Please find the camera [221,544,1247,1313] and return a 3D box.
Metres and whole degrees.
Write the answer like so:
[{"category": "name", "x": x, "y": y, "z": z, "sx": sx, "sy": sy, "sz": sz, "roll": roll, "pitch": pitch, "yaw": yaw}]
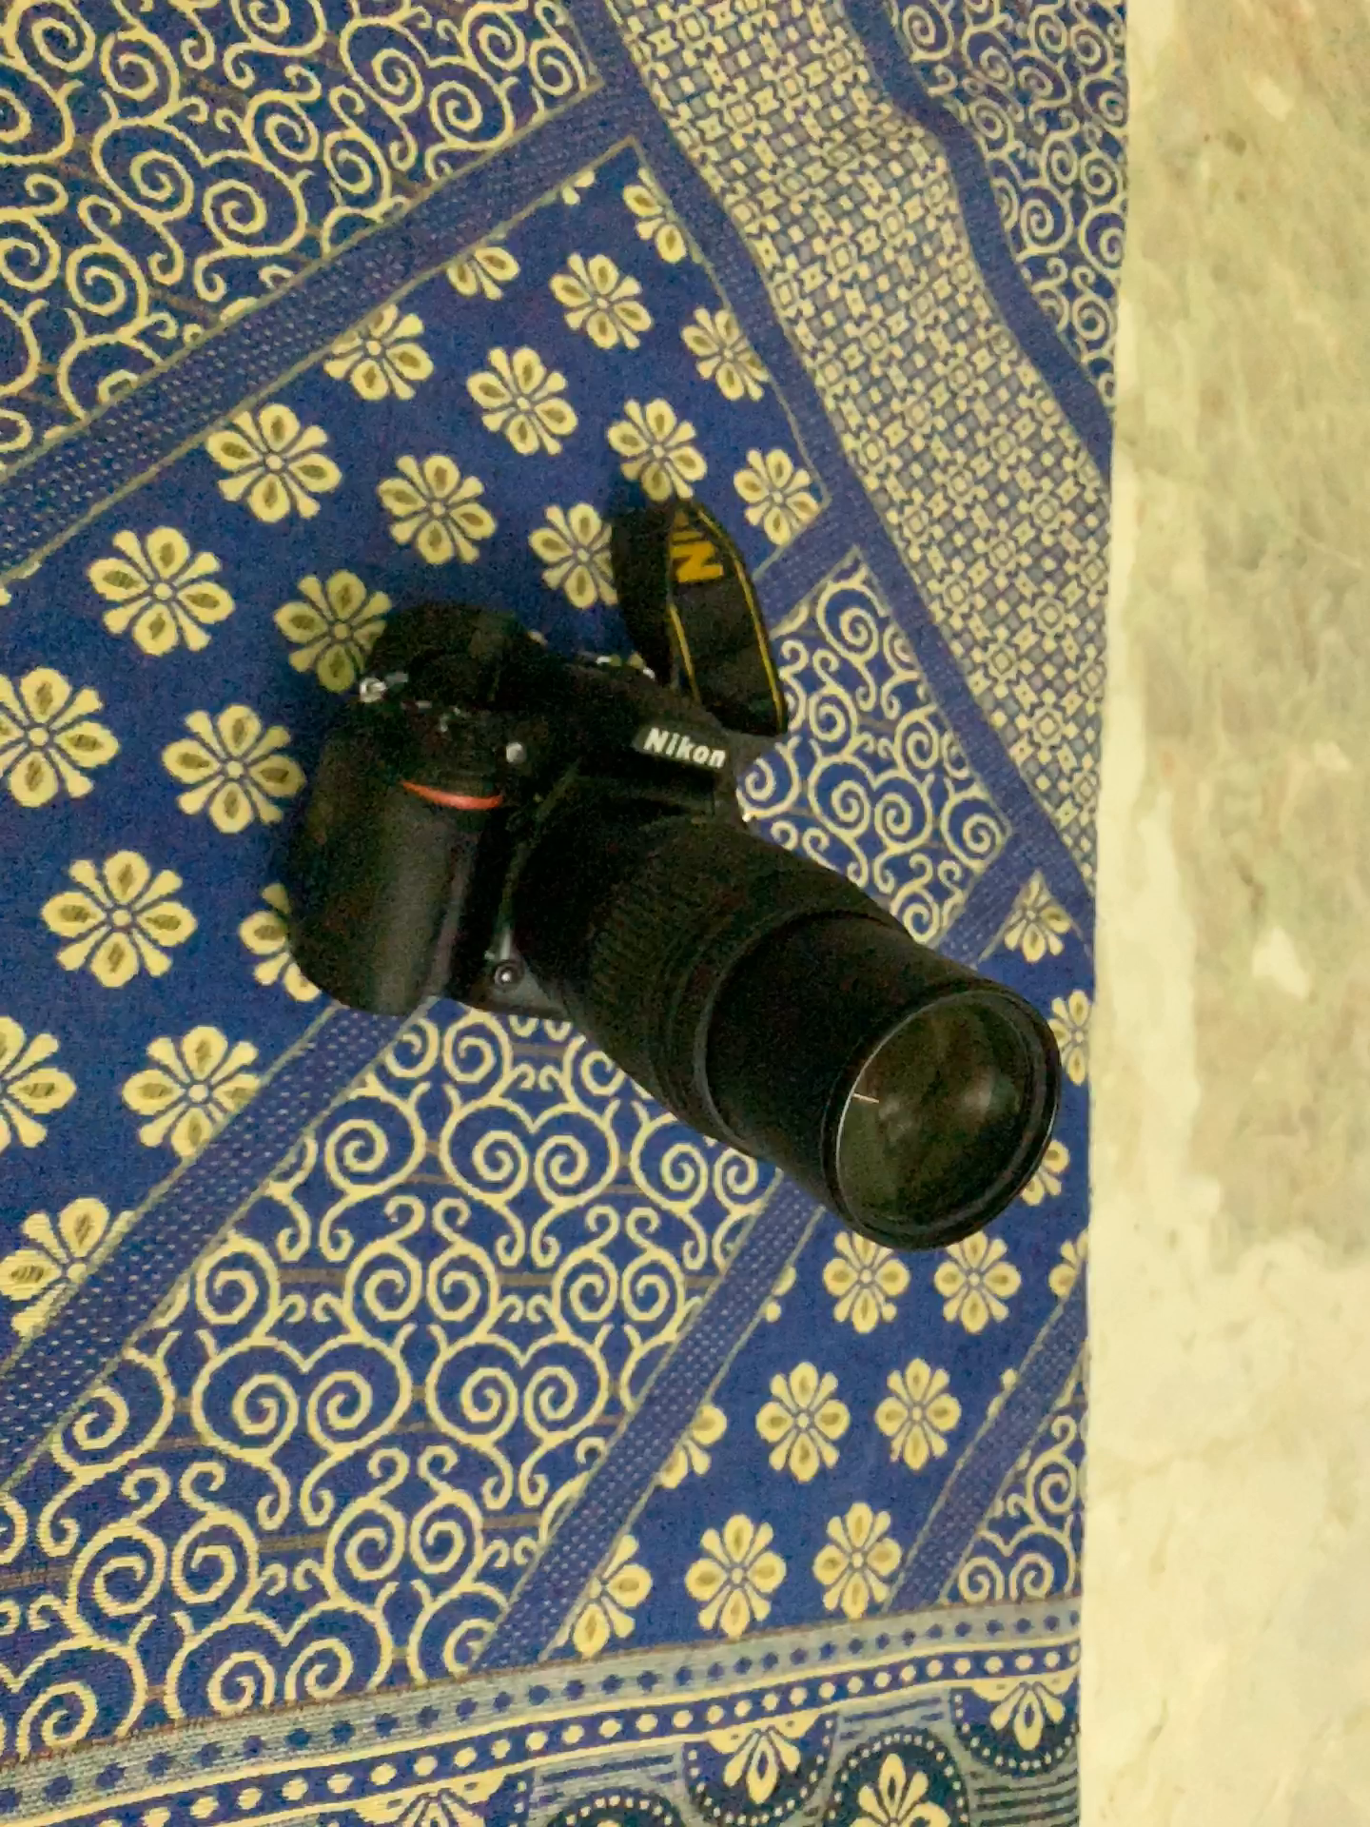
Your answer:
[{"category": "camera", "x": -0.002, "y": 0.002, "z": 0.360, "sx": 0.161, "sy": 0.191, "sz": 0.130, "roll": 11, "pitch": 92, "yaw": -32}]
